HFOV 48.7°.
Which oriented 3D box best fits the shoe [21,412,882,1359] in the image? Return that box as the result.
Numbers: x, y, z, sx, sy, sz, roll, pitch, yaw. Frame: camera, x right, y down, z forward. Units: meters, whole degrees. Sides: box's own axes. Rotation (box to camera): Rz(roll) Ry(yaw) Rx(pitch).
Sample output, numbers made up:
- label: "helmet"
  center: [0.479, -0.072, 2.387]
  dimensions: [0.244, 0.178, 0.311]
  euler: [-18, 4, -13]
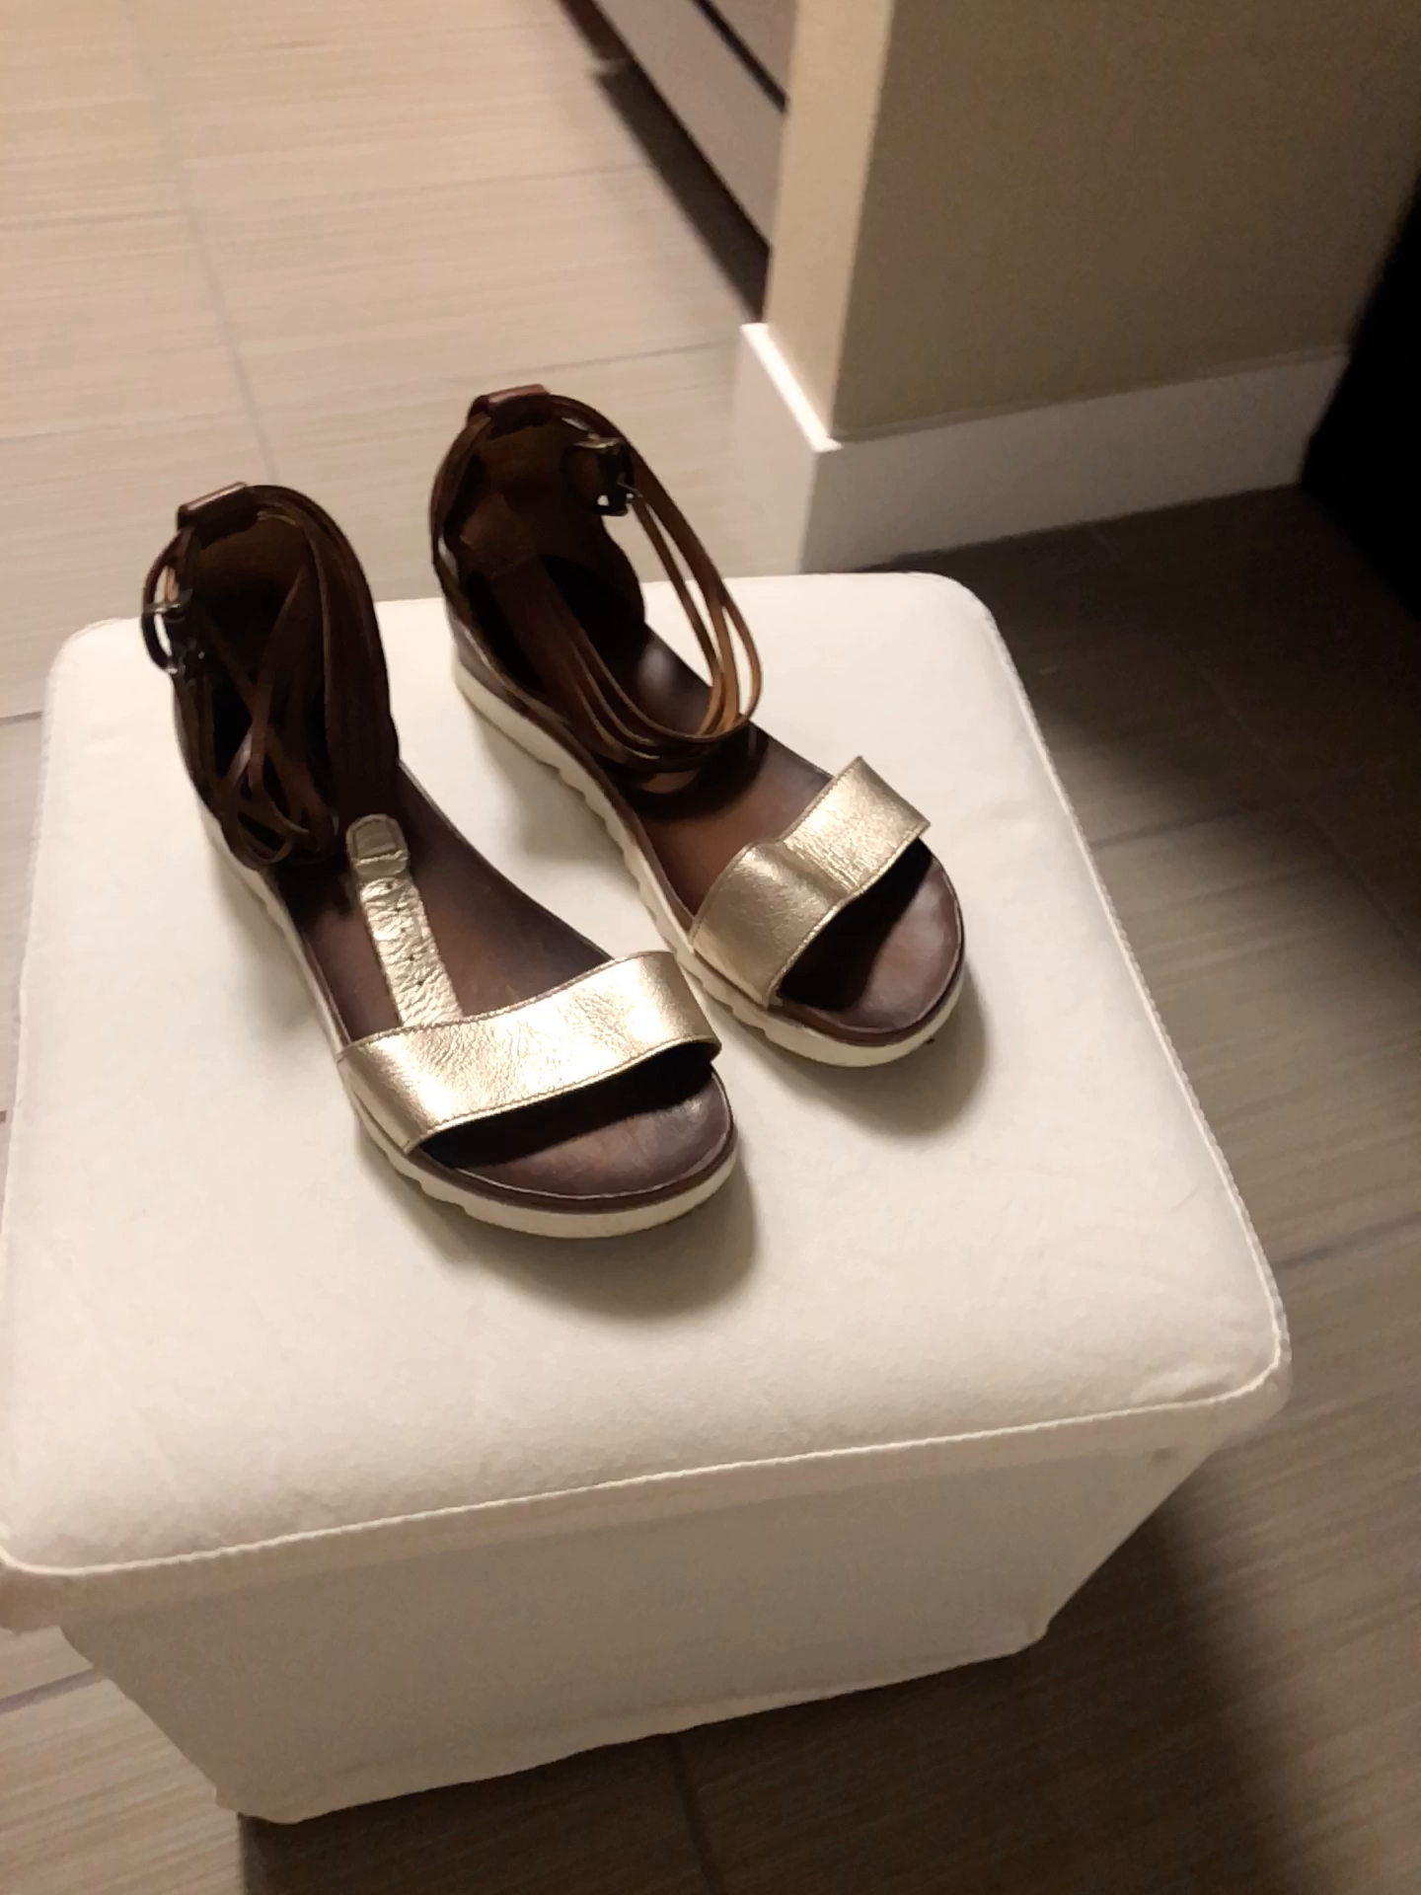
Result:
- label: "shoe"
  center: [-0.082, -0.031, 0.454]
  dimensions: [0.110, 0.090, 0.261]
  euler: [-28, 61, -24]

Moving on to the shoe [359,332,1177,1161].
- label: "shoe"
  center: [0.004, -0.076, 0.504]
  dimensions: [0.110, 0.090, 0.261]
  euler: [-28, 61, -24]
